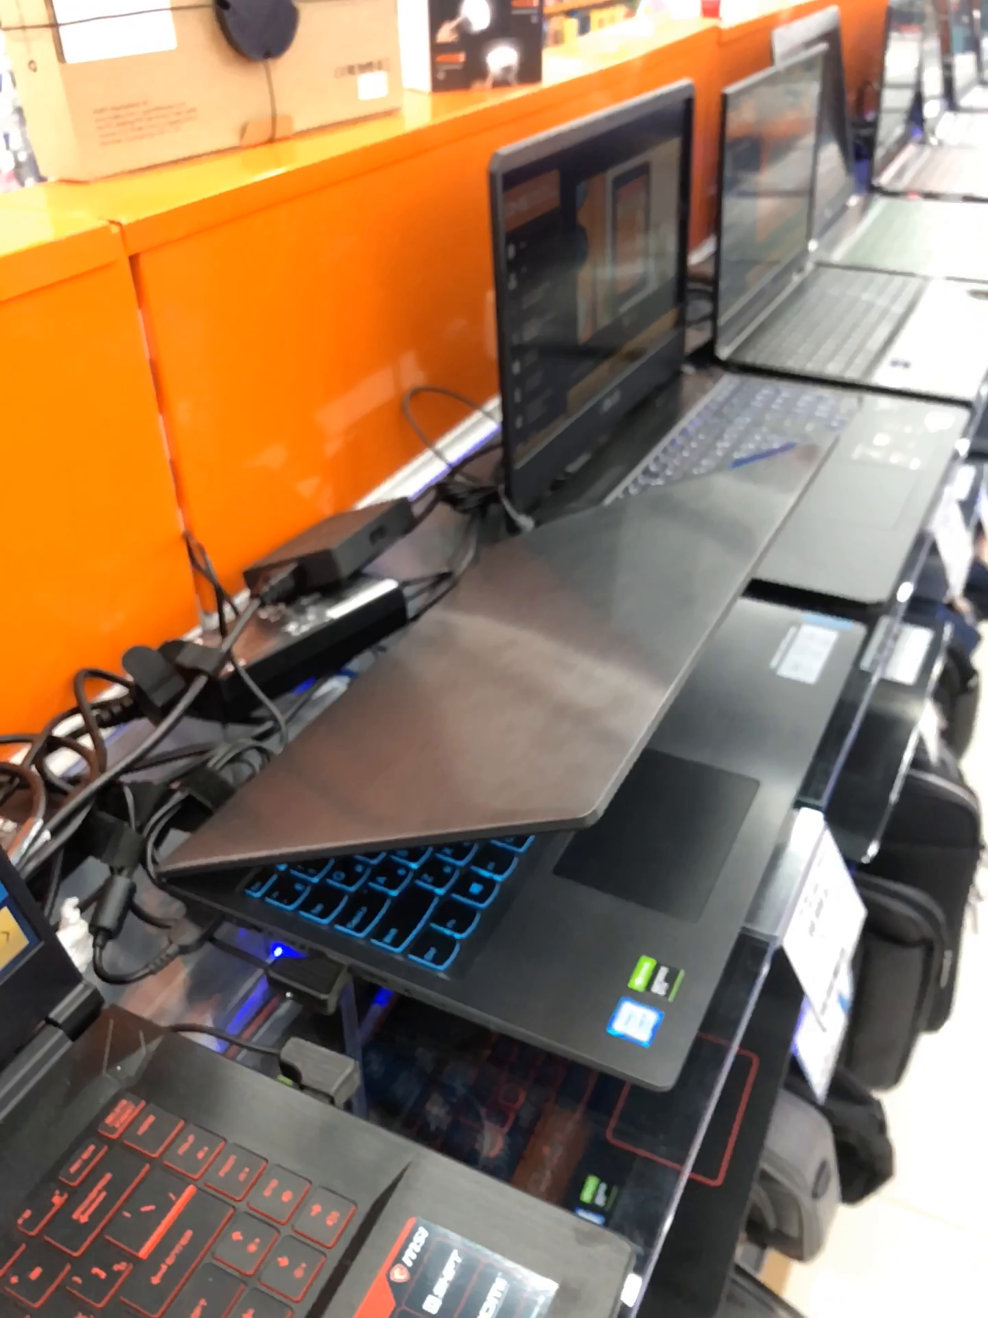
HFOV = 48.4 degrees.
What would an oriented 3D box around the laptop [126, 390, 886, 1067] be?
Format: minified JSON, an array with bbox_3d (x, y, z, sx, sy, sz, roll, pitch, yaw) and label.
[{"bbox_3d":[0.036,-0.008,0.568,0.241,0.117,0.349,15,37,23],"label":"laptop"}]

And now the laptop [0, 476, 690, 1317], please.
[{"bbox_3d":[-0.180,0.152,0.216,0.325,0.228,0.350,13,34,22],"label":"laptop"}]

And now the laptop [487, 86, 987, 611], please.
[{"bbox_3d":[0.205,-0.267,0.834,0.277,0.250,0.385,15,37,24],"label":"laptop"}]
